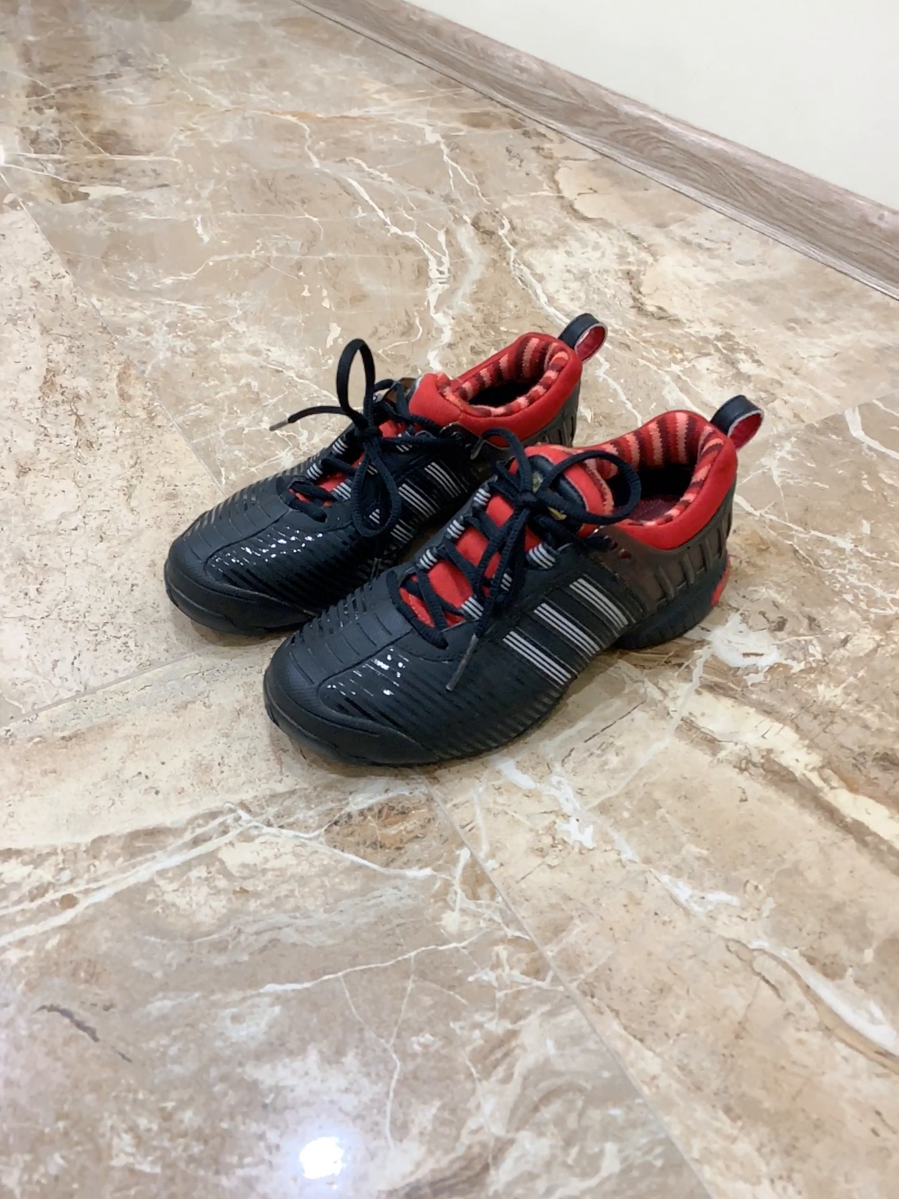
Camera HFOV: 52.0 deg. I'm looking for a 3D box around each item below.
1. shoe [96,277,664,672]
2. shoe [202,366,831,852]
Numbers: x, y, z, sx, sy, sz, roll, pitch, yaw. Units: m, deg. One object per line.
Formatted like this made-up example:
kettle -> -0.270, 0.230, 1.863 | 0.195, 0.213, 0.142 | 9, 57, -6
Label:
shoe -> -0.026, -0.078, 0.484 | 0.270, 0.090, 0.096 | -25, 50, -27
shoe -> 0.038, -0.011, 0.425 | 0.270, 0.090, 0.096 | -25, 50, -27
